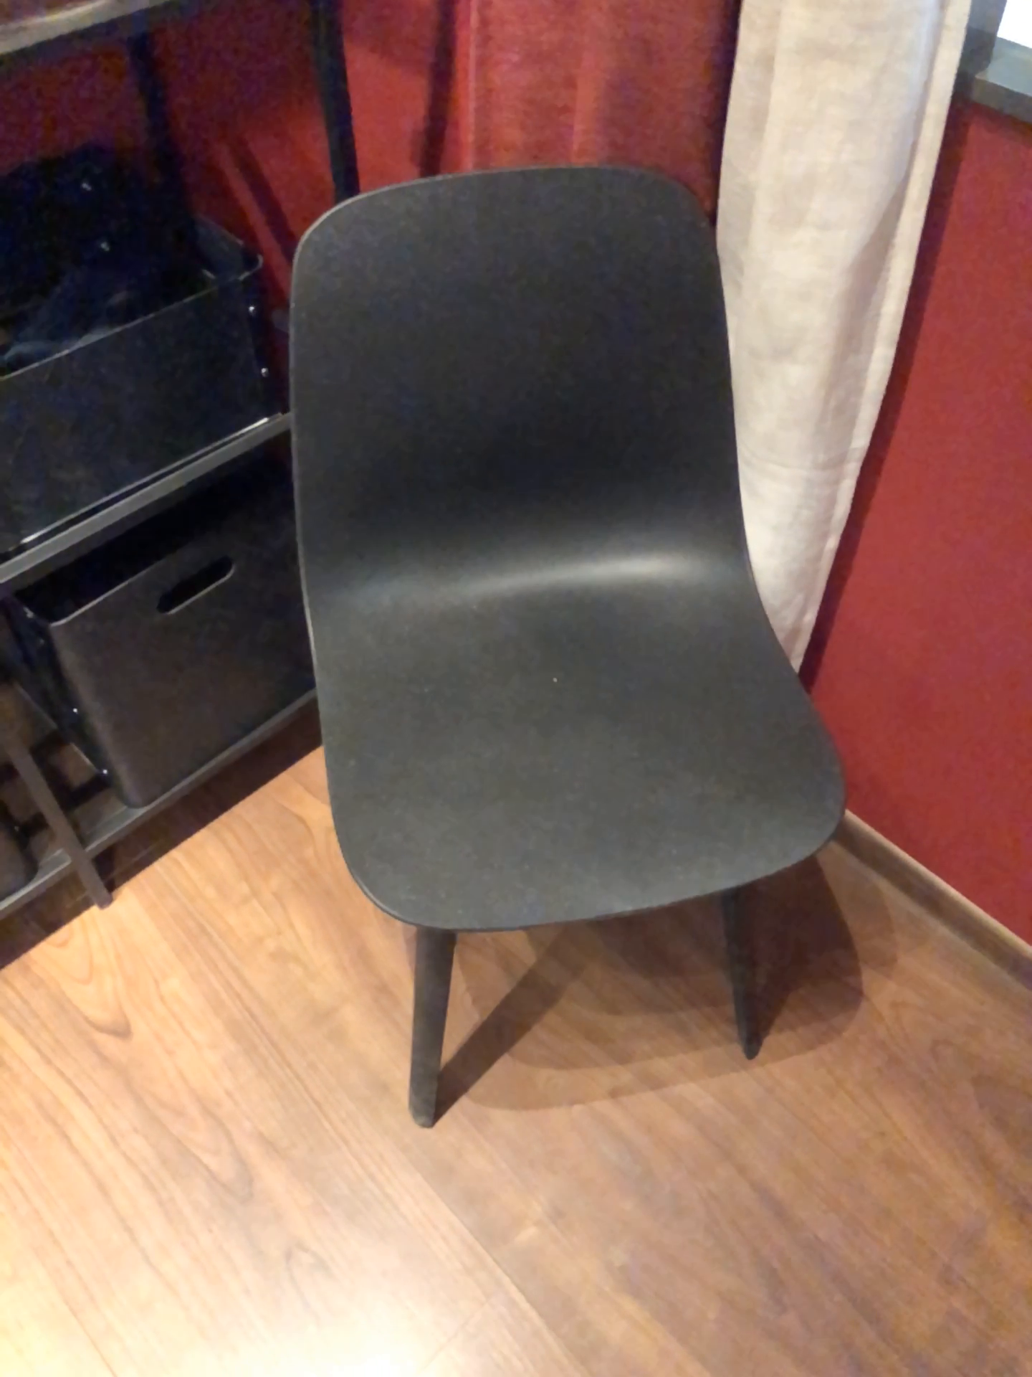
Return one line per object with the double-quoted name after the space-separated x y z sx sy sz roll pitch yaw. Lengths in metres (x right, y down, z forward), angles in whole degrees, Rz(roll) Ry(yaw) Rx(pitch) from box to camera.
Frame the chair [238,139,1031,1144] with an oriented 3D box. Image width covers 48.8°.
0.038 0.003 1.016 0.410 0.726 0.483 -9 51 -8 "chair"
